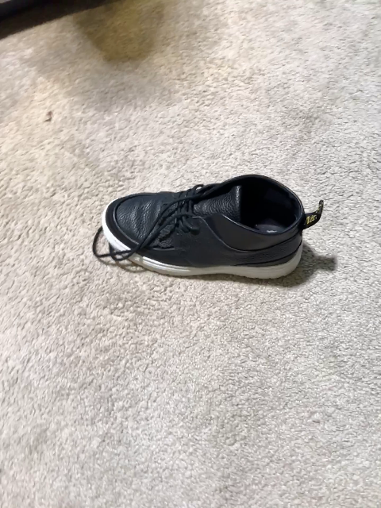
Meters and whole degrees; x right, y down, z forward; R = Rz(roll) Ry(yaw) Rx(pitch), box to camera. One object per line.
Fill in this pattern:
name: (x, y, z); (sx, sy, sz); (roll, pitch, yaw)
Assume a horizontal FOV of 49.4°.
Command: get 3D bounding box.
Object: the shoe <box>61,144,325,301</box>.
shoe: (0.006, -0.033, 0.486); (0.261, 0.111, 0.107); (10, 70, 4)
